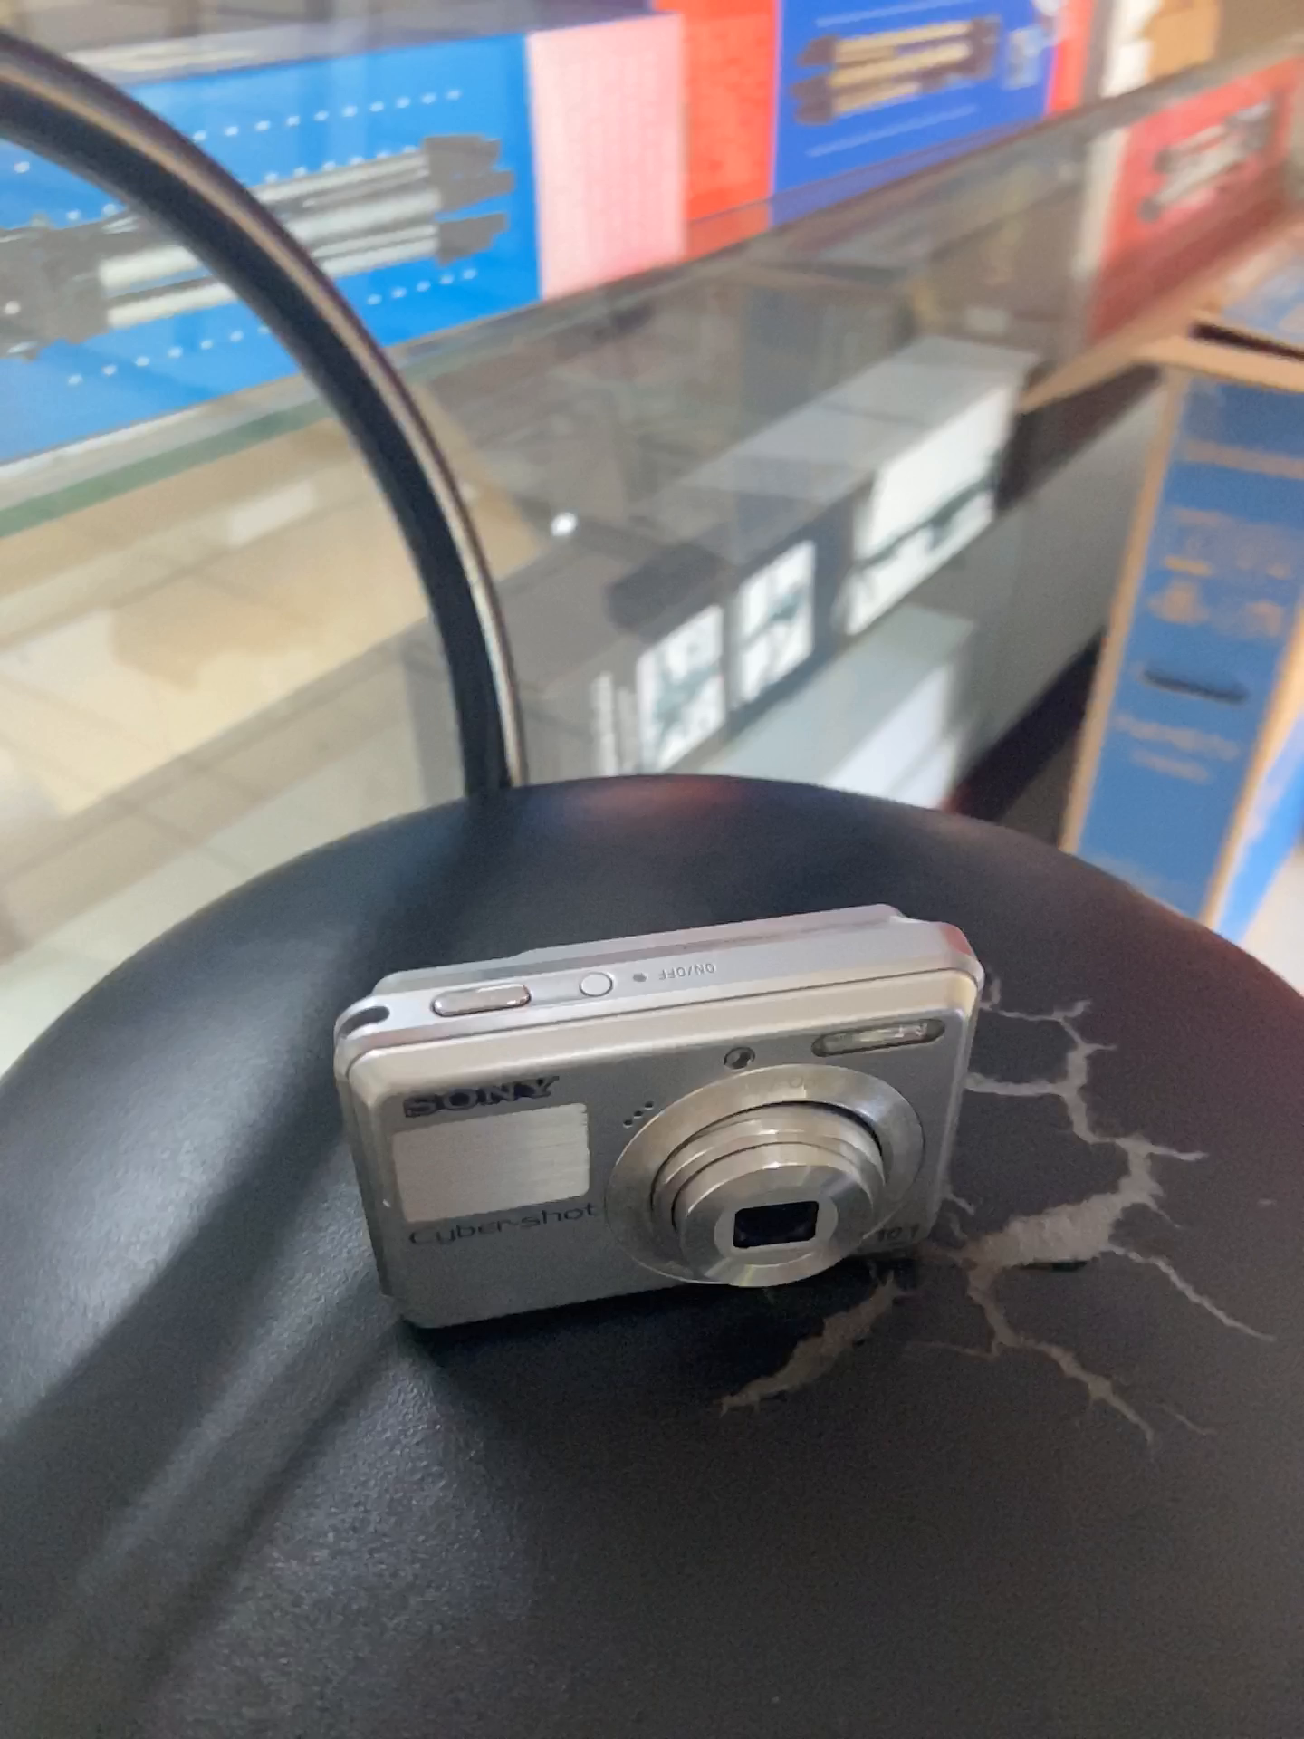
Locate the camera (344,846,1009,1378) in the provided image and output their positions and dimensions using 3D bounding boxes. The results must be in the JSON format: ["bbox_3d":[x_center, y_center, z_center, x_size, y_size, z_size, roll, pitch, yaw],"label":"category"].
[{"bbox_3d":[0.001,0.035,0.198,0.083,0.057,0.035,-7,38,-8],"label":"camera"}]
